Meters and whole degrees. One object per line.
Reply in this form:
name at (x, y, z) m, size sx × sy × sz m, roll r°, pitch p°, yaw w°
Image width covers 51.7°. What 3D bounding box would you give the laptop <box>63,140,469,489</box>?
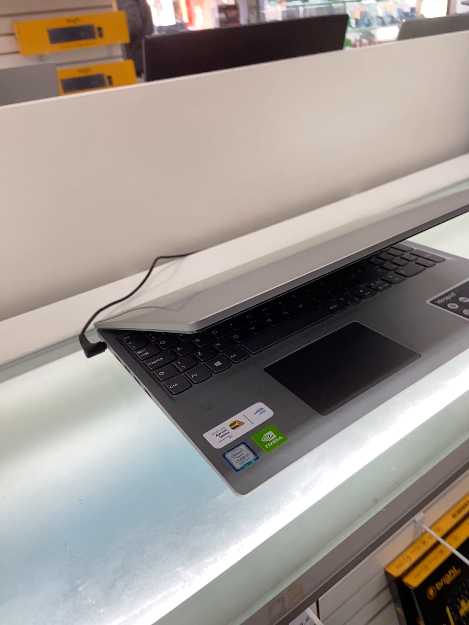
laptop at (0.074, -0.050, 0.423) m, size 0.354 × 0.104 × 0.239 m, roll -24°, pitch 34°, yaw -27°
